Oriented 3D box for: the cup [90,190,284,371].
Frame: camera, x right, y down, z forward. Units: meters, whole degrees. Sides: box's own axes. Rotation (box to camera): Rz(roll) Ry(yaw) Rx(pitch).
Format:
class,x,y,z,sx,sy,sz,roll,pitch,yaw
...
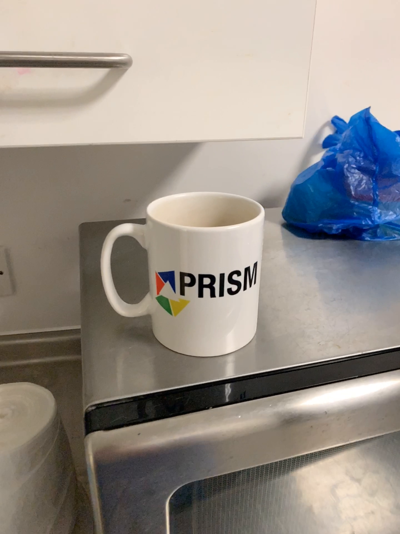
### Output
class,x,y,z,sx,sy,sz,roll,pitch,yaw
cup,-0.007,0.004,0.304,0.113,0.099,0.095,1,24,1
